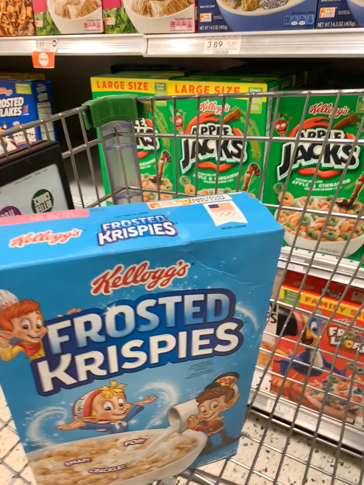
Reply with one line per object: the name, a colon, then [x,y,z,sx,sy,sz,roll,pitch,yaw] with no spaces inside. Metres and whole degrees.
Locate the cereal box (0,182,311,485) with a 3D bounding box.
cereal box: [-0.029,0.117,0.318,0.200,0.317,0.061,-8,36,-13]
